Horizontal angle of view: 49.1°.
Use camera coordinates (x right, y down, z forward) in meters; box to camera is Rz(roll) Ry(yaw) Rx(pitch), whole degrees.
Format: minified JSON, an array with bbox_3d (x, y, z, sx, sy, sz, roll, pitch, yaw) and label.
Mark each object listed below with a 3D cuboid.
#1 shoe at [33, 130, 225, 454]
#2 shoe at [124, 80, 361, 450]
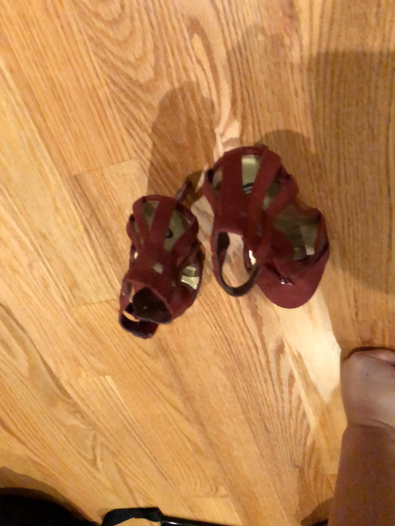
[{"bbox_3d":[-0.047,0.018,0.370,0.085,0.176,0.199,12,125,5],"label":"shoe"},{"bbox_3d":[0.053,-0.002,0.328,0.085,0.176,0.207,-11,120,20],"label":"shoe"}]
